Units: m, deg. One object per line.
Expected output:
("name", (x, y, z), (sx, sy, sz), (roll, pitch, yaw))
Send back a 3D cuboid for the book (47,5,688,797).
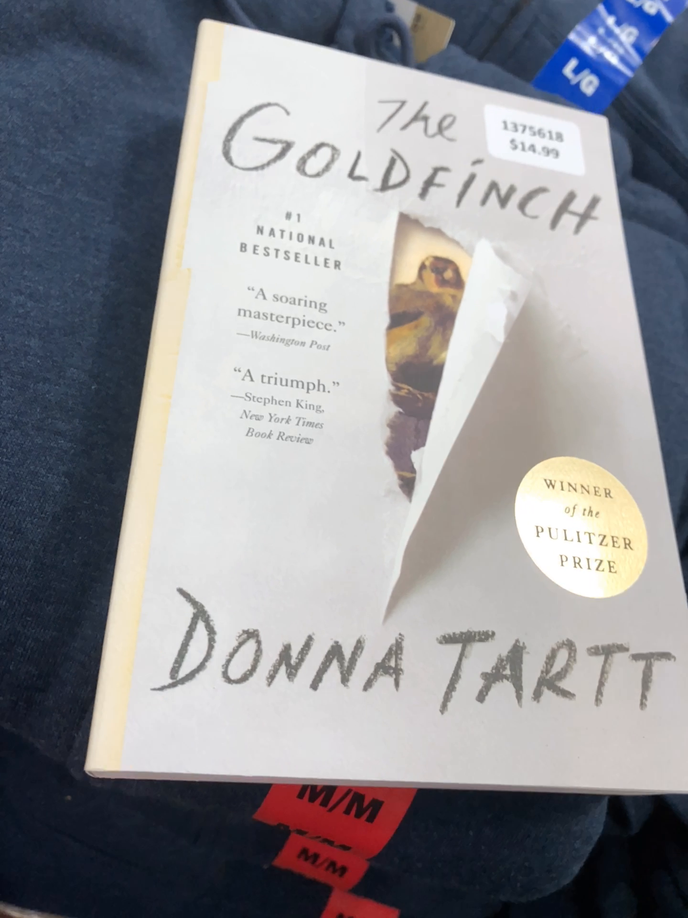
("book", (0.017, -0.023, 0.230), (0.158, 0.041, 0.222), (7, 64, -13))
